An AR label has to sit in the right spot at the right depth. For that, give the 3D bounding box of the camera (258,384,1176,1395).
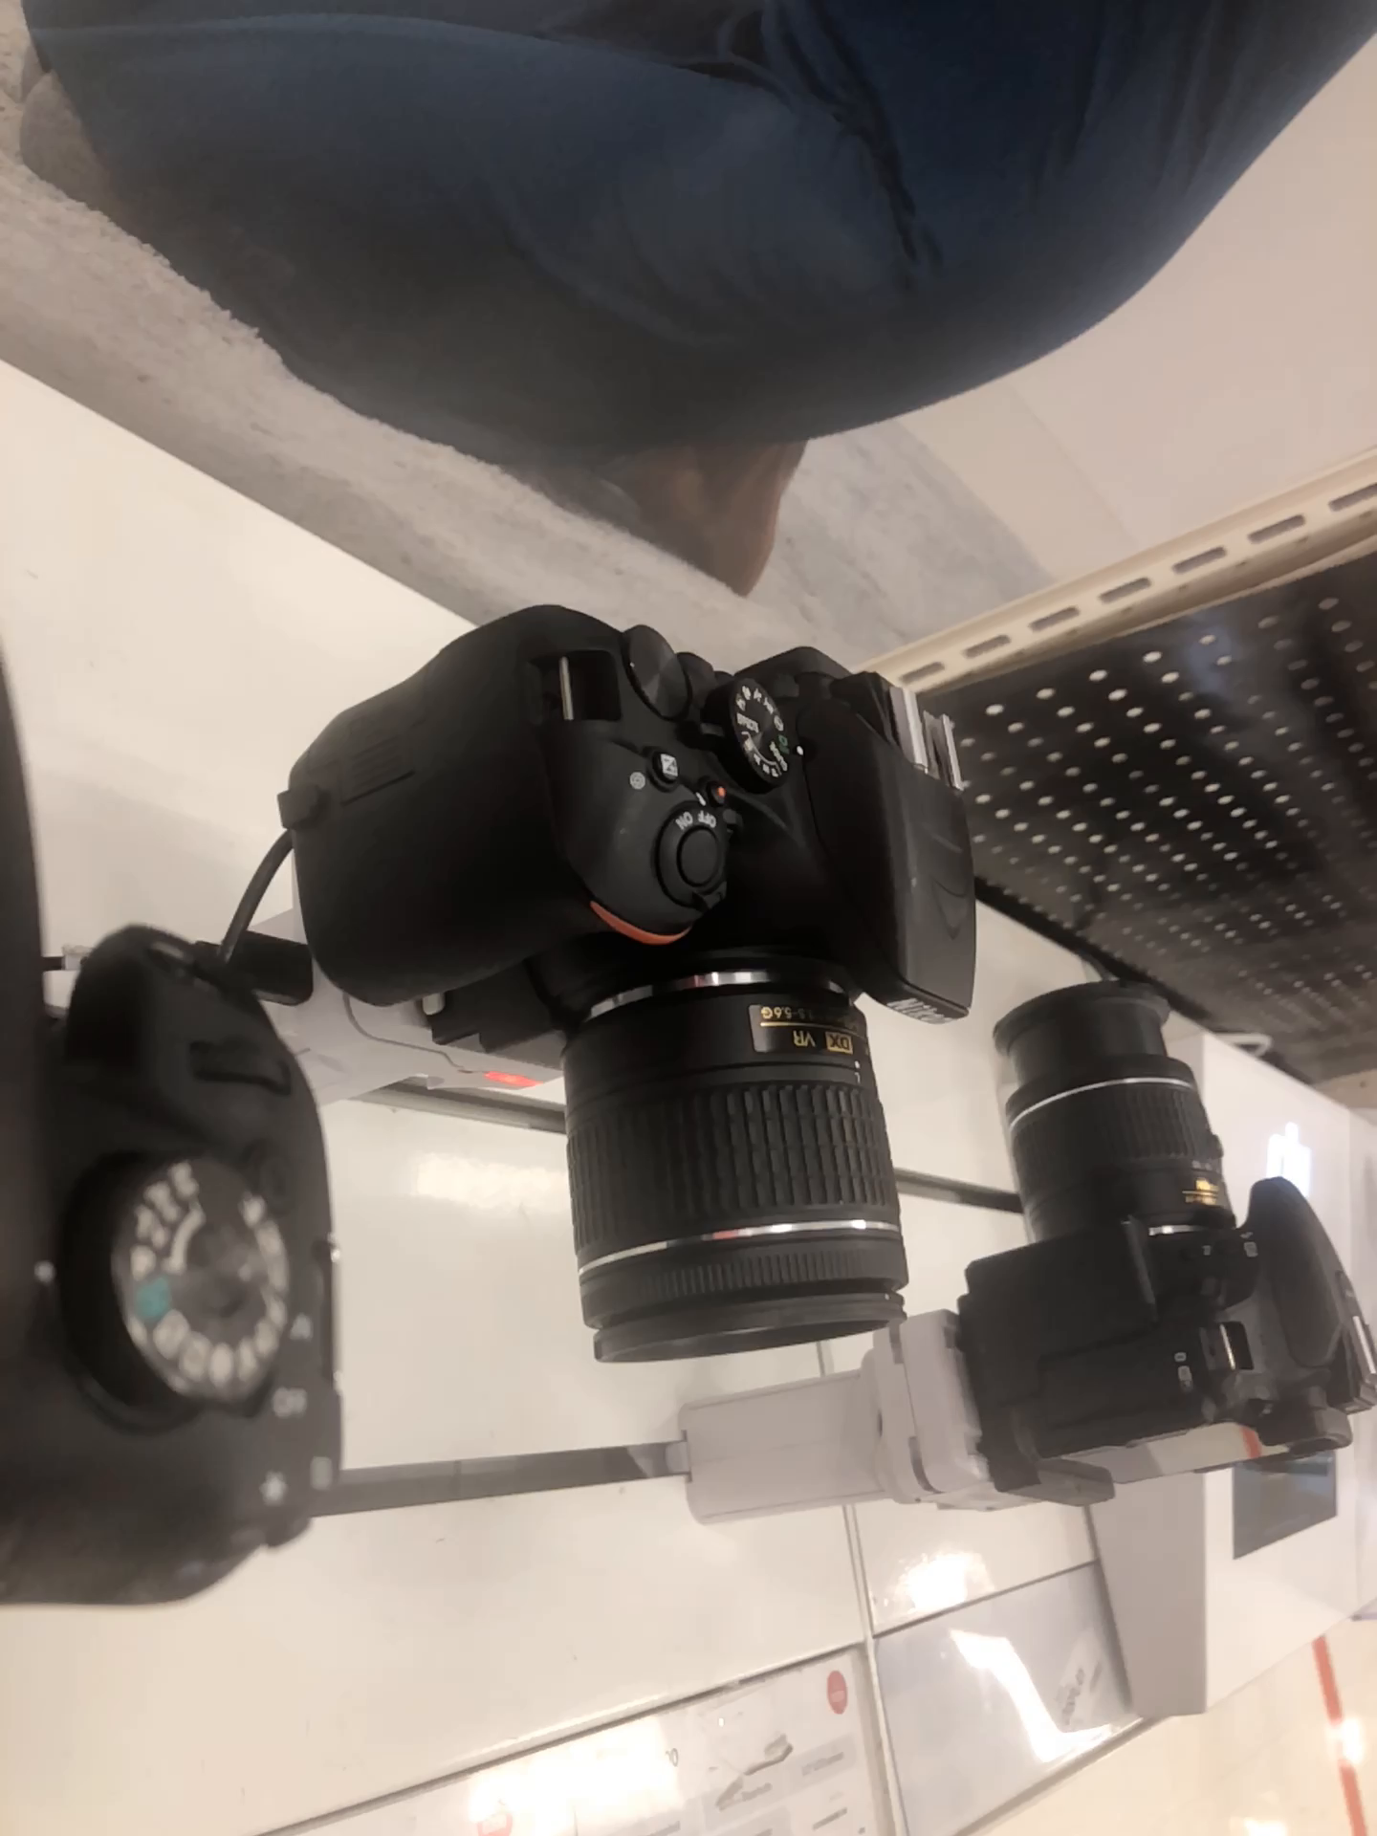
[{"bbox_3d":[0.009,0.011,0.277,0.141,0.089,0.130,21,56,-53],"label":"camera"}]
